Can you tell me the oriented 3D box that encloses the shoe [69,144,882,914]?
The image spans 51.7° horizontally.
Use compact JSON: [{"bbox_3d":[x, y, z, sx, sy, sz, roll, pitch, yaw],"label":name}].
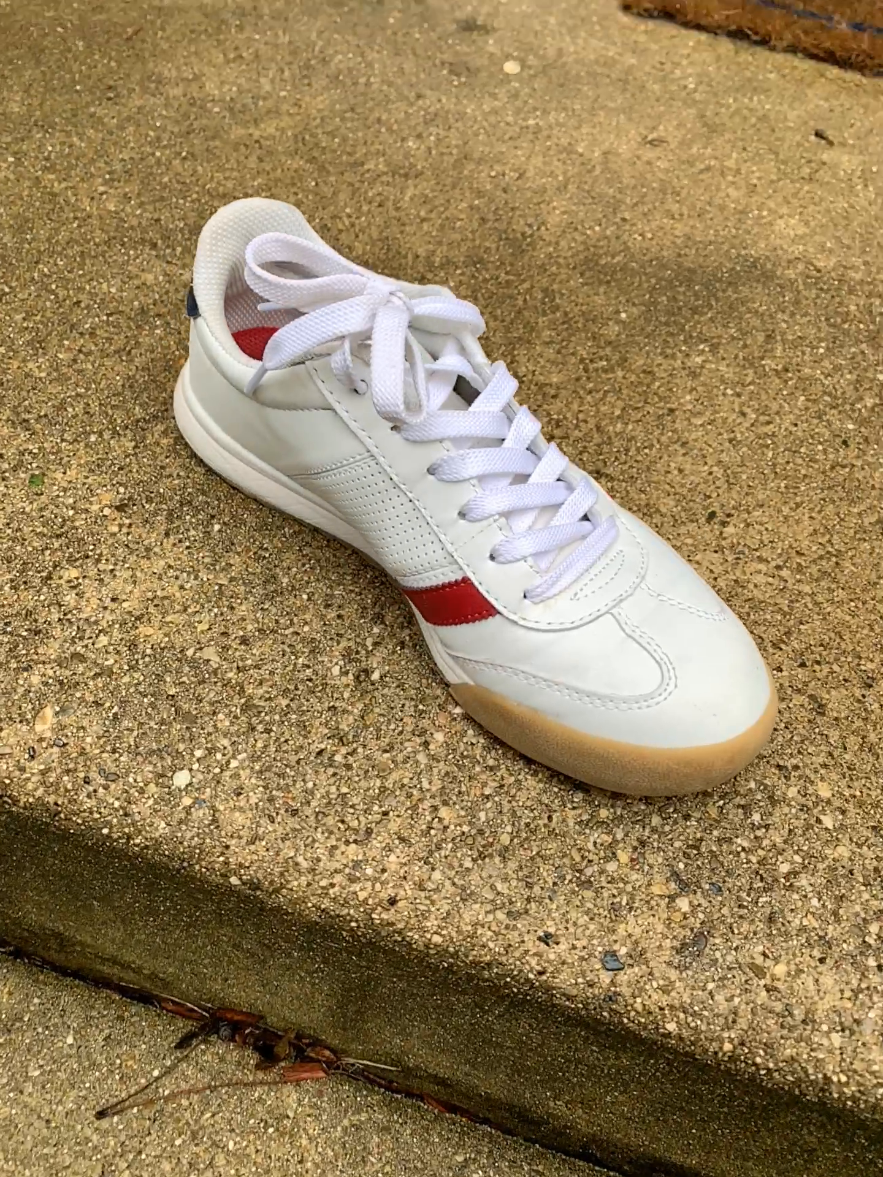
[{"bbox_3d":[-0.002,-0.038,0.313,0.098,0.092,0.270,-35,64,-31],"label":"shoe"}]
